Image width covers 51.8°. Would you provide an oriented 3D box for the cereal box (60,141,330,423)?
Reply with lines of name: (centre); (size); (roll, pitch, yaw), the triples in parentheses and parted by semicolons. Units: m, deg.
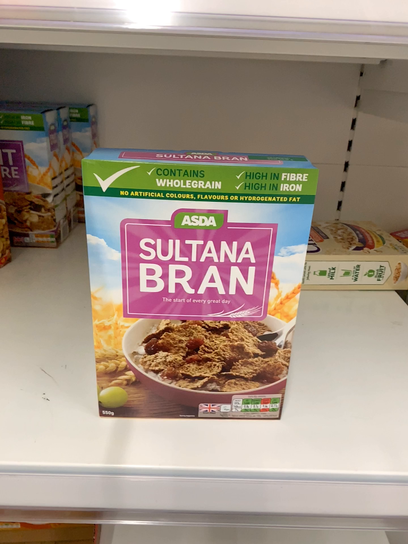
cereal box: (-0.011, 0.019, 0.415); (0.210, 0.268, 0.071); (1, 25, -2)
